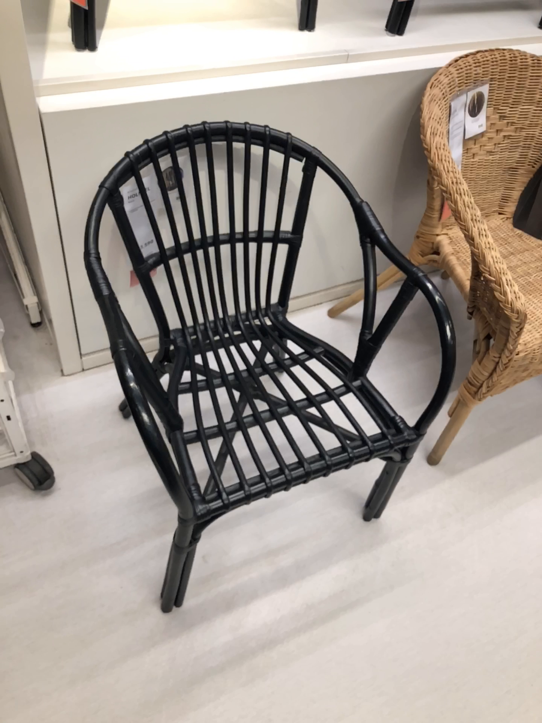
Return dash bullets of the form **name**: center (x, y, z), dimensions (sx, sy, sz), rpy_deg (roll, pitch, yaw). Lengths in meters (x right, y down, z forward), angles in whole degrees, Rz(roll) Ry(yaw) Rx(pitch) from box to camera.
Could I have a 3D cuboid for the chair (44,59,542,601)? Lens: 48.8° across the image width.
- **chair**: center (-0.008, -0.017, 1.050), dimensions (0.551, 0.756, 0.472), rpy_deg (-15, 58, -21)
